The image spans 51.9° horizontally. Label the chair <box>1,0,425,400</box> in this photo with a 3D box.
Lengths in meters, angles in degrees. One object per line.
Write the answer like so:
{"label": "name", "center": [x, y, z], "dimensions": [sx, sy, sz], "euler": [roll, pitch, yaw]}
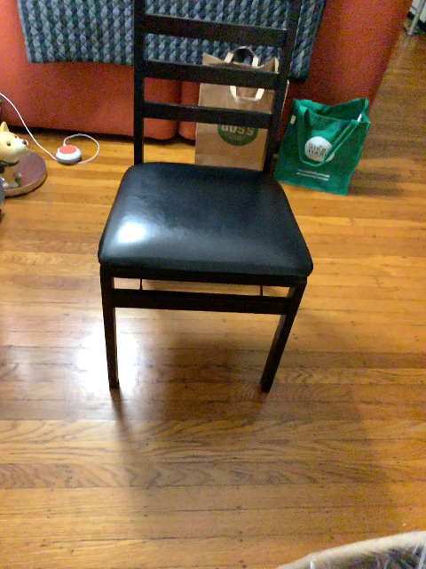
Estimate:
{"label": "chair", "center": [-0.008, -0.217, 0.918], "dimensions": [0.490, 0.866, 0.553], "euler": [1, 48, -7]}
